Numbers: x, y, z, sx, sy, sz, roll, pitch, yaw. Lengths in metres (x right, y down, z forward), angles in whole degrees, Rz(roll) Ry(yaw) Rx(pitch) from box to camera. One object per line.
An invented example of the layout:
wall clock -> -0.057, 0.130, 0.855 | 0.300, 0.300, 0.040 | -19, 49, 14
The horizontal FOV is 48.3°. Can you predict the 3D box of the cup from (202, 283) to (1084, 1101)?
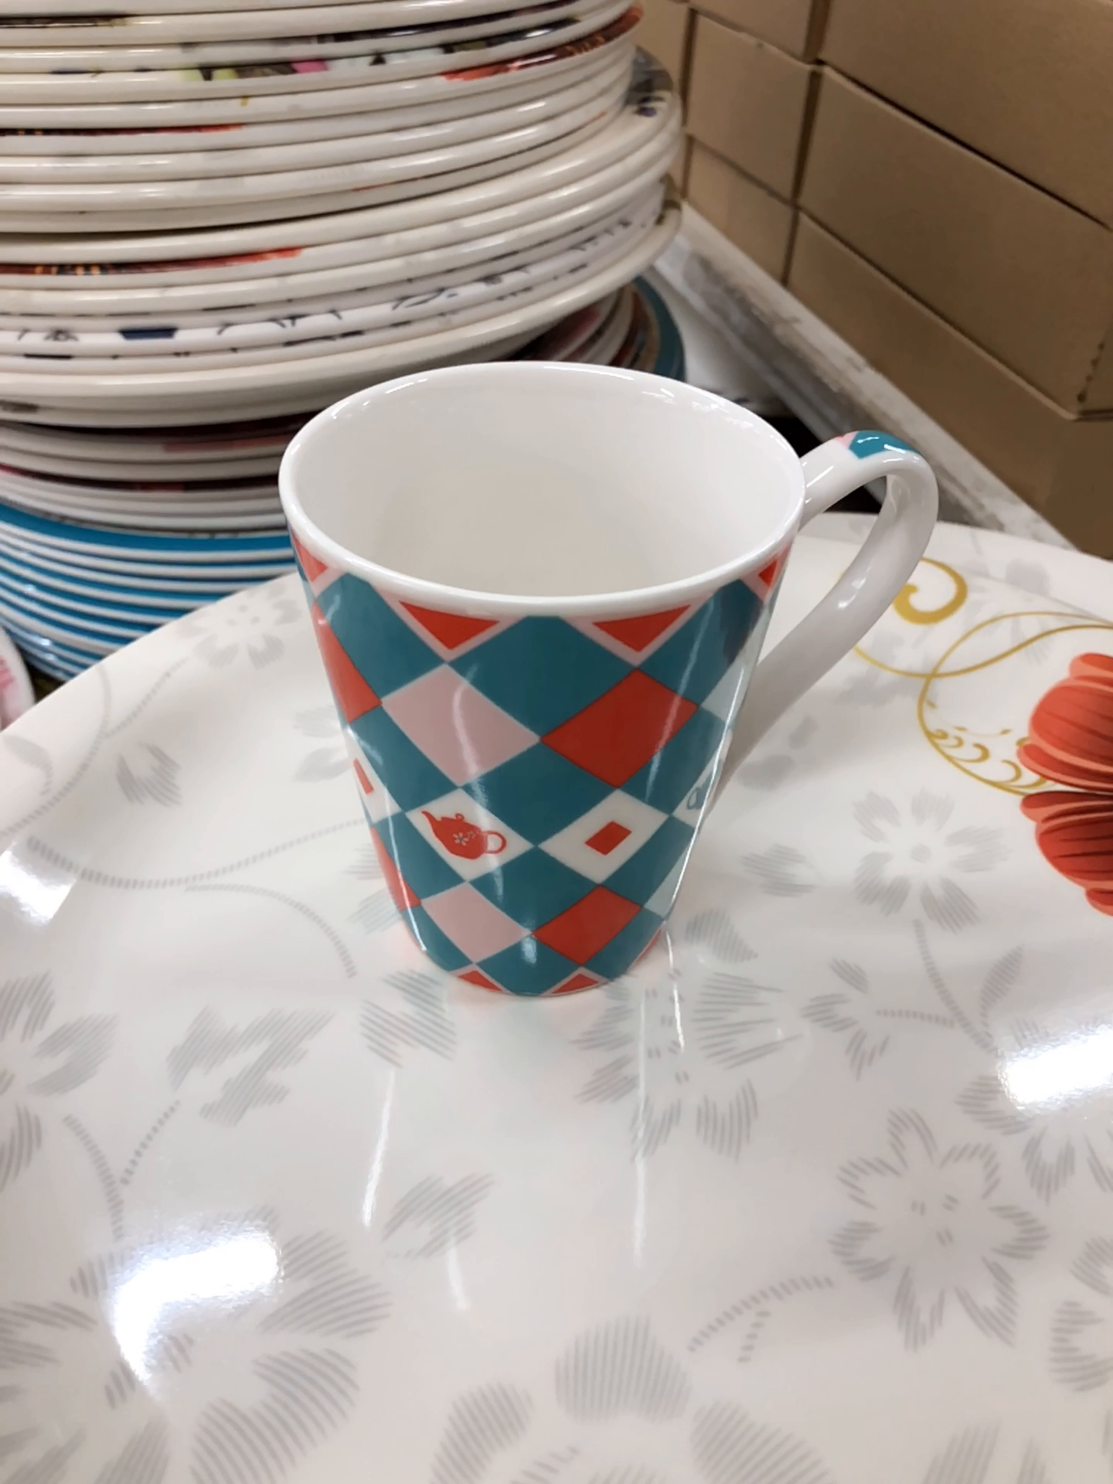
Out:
cup -> 0.014, -0.018, 0.245 | 0.131, 0.099, 0.080 | -21, 45, -27
